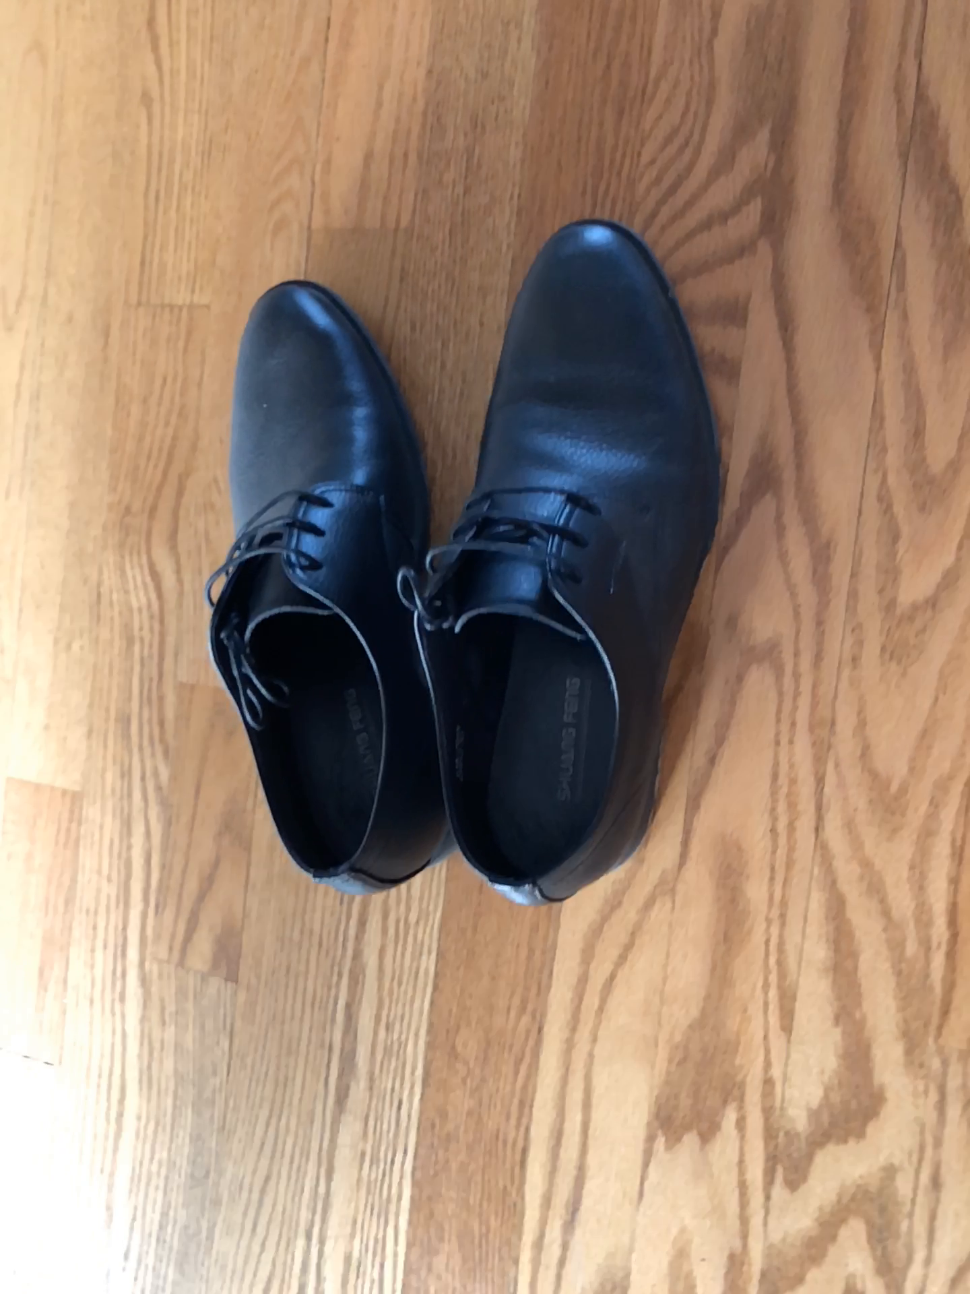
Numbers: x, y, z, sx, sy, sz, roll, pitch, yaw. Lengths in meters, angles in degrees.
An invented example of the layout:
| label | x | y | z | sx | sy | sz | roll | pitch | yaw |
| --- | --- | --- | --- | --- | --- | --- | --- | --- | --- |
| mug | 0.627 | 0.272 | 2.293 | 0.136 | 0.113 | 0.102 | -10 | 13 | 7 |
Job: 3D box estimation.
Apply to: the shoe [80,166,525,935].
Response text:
| label | x | y | z | sx | sy | sz | roll | pitch | yaw |
| --- | --- | --- | --- | --- | --- | --- | --- | --- | --- |
| shoe | -0.080 | -0.037 | 0.506 | 0.110 | 0.124 | 0.304 | -12 | 86 | 21 |

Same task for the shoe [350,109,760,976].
| label | x | y | z | sx | sy | sz | roll | pitch | yaw |
| --- | --- | --- | --- | --- | --- | --- | --- | --- | --- |
| shoe | 0.035 | -0.039 | 0.447 | 0.110 | 0.124 | 0.299 | 6 | 92 | 21 |
